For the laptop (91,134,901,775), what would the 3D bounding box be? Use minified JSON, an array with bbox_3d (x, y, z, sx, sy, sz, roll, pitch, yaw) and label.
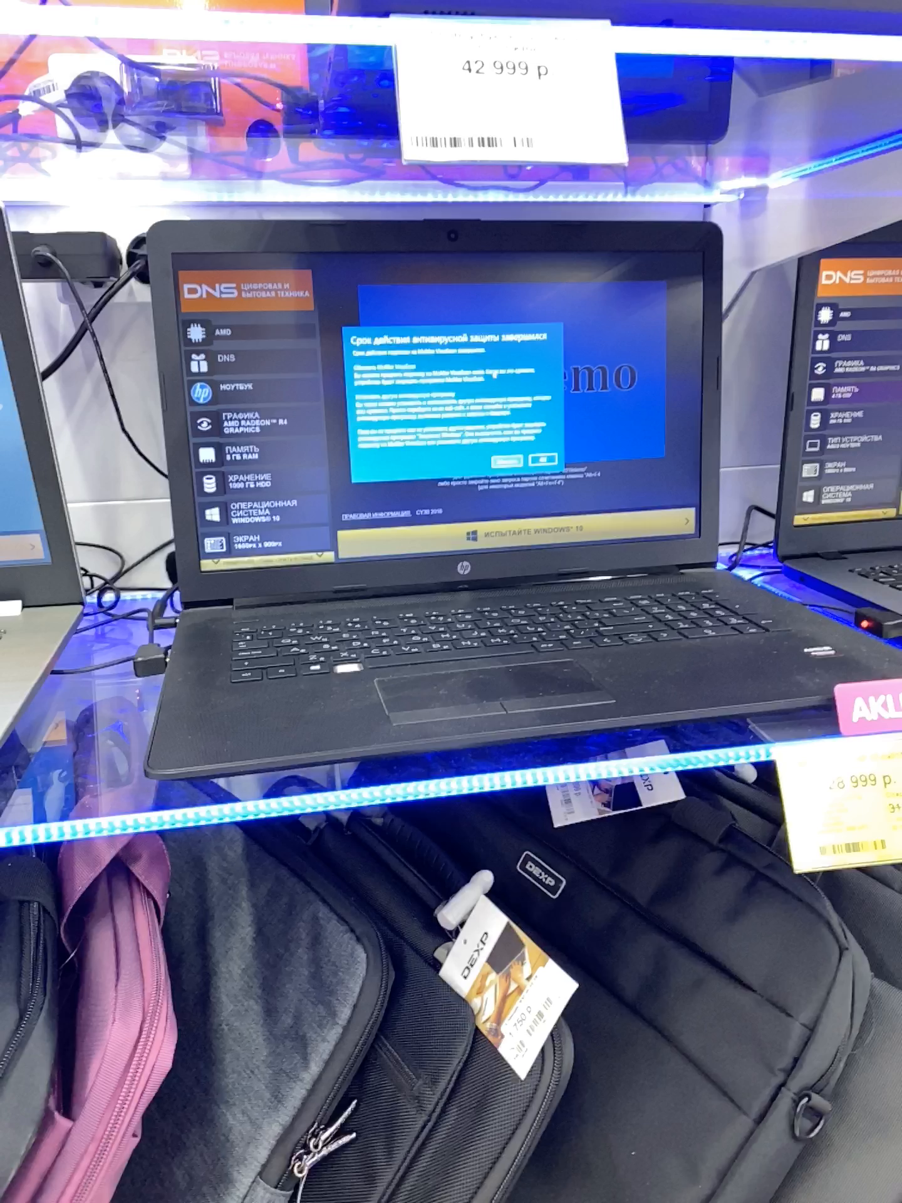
[{"bbox_3d":[0.039,-0.103,0.561,0.419,0.260,0.295,-4,15,-12],"label":"laptop"}]
